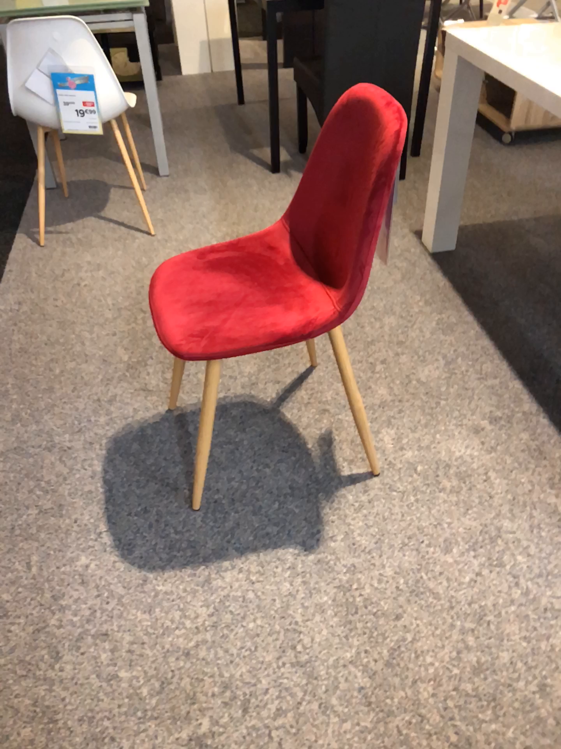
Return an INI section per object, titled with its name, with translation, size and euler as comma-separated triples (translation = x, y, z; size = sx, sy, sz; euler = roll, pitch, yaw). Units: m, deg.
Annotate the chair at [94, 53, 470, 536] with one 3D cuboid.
[chair]
translation = -0.027, -0.172, 1.355
size = 0.551, 0.815, 0.532
euler = -11, 40, -10
